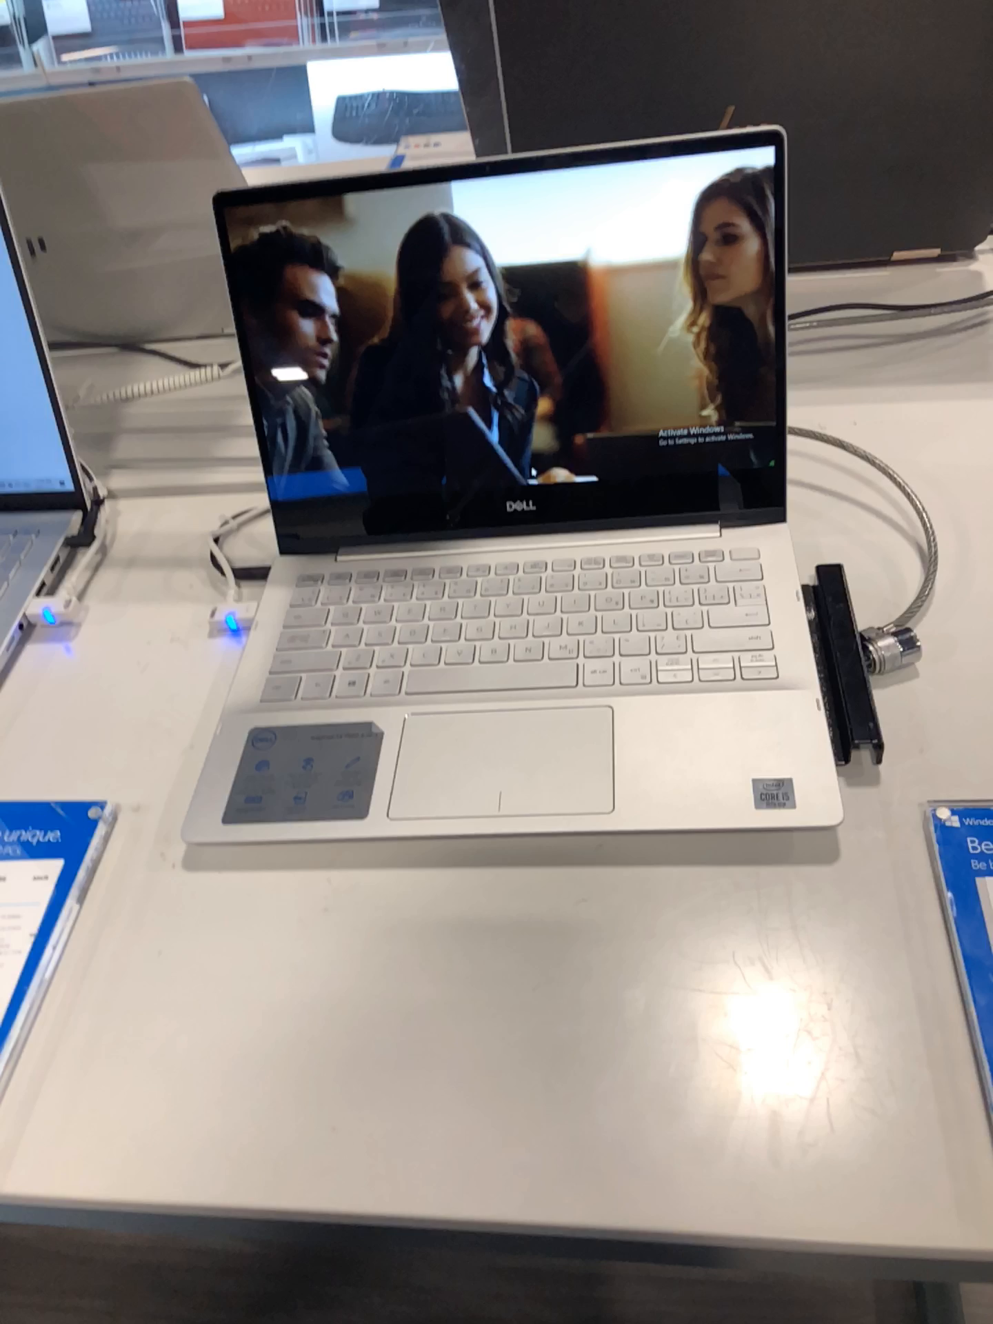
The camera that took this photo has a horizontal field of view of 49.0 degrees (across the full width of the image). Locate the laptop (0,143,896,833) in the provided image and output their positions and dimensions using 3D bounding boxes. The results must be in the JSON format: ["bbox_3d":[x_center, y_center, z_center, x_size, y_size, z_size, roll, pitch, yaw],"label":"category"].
[{"bbox_3d":[-0.004,-0.083,0.500,0.285,0.186,0.265,-2,44,8],"label":"laptop"}]
